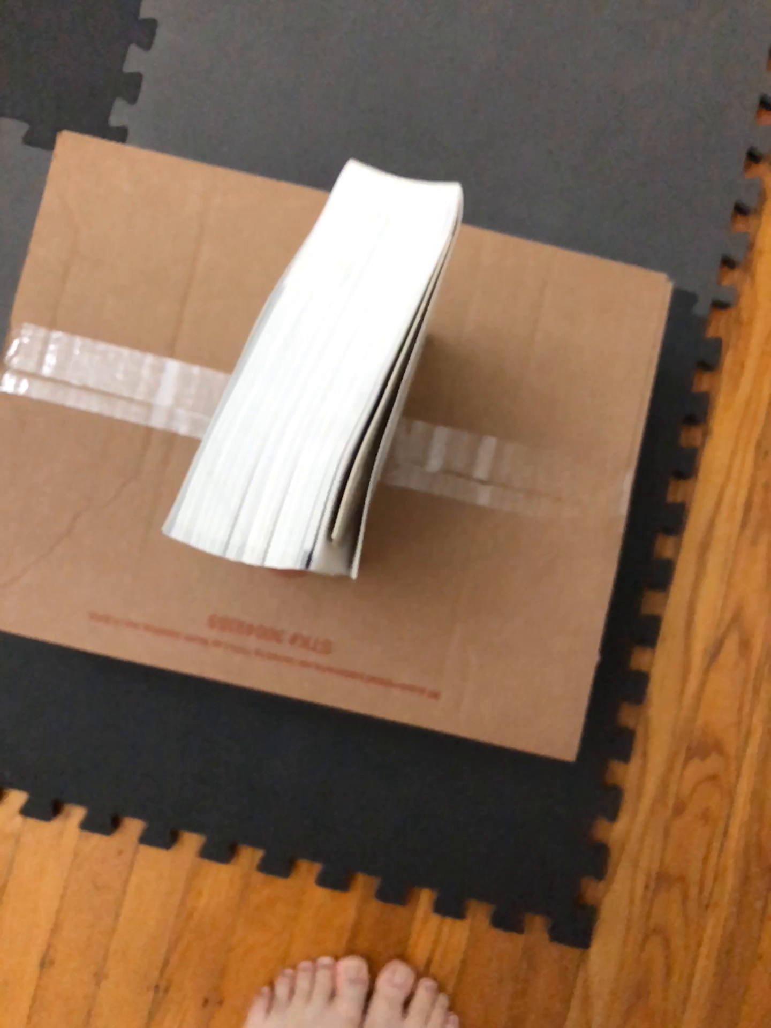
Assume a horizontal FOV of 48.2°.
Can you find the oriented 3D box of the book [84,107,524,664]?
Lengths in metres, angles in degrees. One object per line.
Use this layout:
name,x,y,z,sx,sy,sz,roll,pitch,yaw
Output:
book,-0.031,-0.043,0.464,0.090,0.260,0.200,26,86,2
